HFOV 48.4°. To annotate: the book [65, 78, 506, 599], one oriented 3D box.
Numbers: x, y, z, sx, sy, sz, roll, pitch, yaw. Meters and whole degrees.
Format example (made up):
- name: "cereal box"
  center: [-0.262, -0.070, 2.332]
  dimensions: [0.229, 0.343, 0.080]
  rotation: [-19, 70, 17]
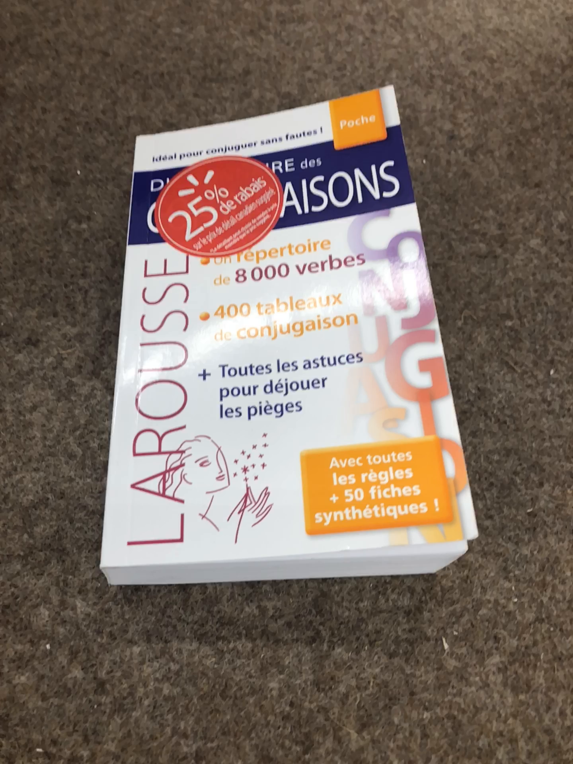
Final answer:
- name: "book"
  center: [-0.005, -0.026, 0.252]
  dimensions: [0.124, 0.059, 0.200]
  rotation: [-2, 62, -2]
